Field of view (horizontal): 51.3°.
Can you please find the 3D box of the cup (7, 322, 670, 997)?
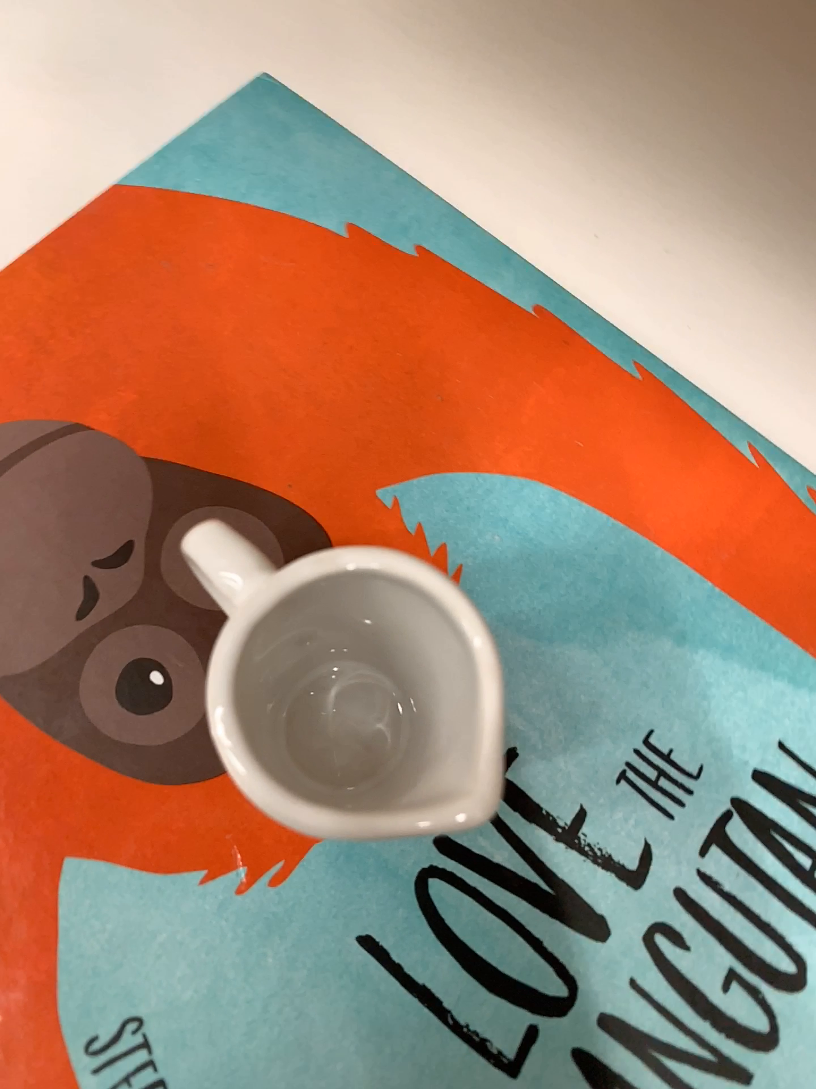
[{"bbox_3d":[-0.011,0.017,0.130,0.050,0.050,0.070,-38,79,-18],"label":"cup"}]
